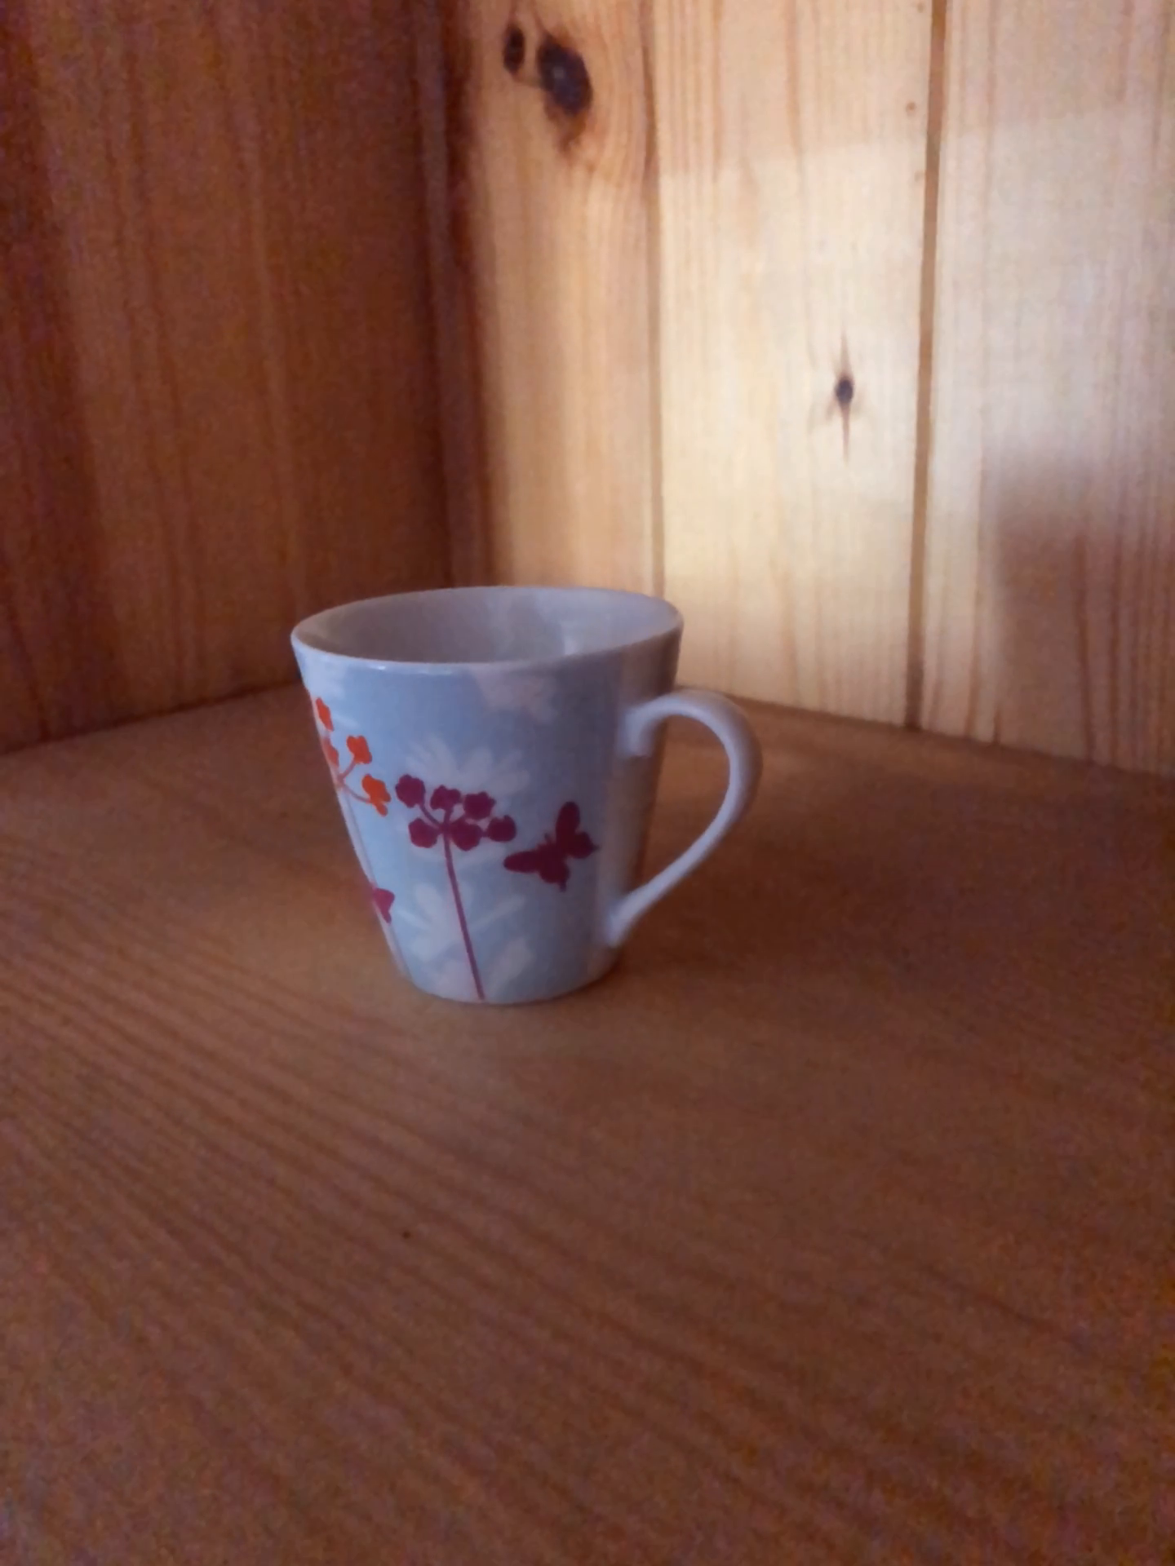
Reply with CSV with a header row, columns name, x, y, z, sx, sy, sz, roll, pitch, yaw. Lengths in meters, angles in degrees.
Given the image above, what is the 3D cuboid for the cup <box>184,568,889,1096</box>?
name,x,y,z,sx,sy,sz,roll,pitch,yaw
cup,-0.006,-0.001,0.205,0.080,0.050,0.070,11,22,35
